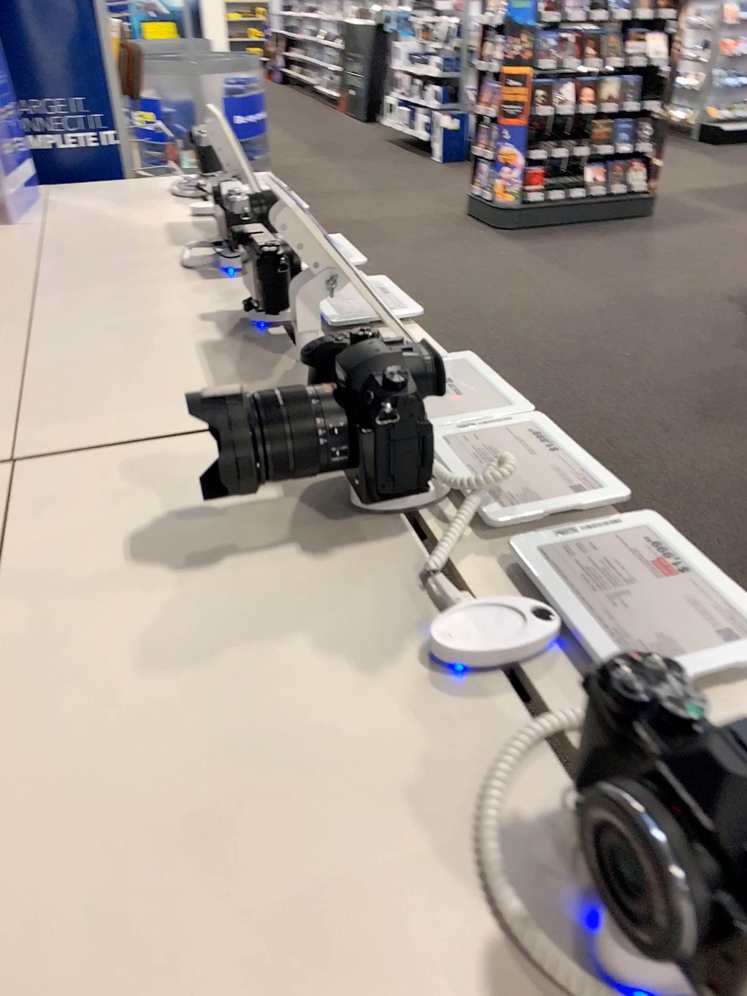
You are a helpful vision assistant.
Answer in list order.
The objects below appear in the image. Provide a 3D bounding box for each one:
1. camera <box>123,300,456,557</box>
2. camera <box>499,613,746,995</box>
[{"bbox_3d":[-0.063,-0.060,0.552,0.200,0.099,0.141,-12,36,-16],"label":"camera"},{"bbox_3d":[0.113,0.124,0.289,0.070,0.080,0.131,-12,36,-16],"label":"camera"}]
